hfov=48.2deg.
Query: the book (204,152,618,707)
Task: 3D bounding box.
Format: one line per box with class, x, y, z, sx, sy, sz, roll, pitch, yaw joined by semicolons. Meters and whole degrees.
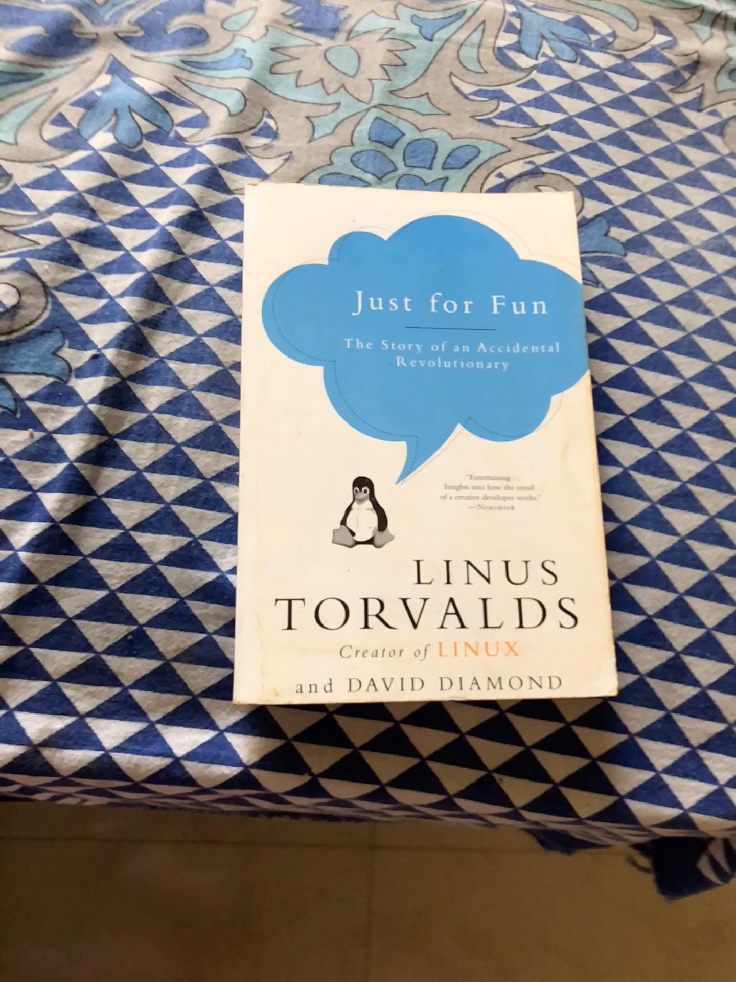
book;0.012;-0.027;0.317;0.140;0.030;0.210;0;75;-6
